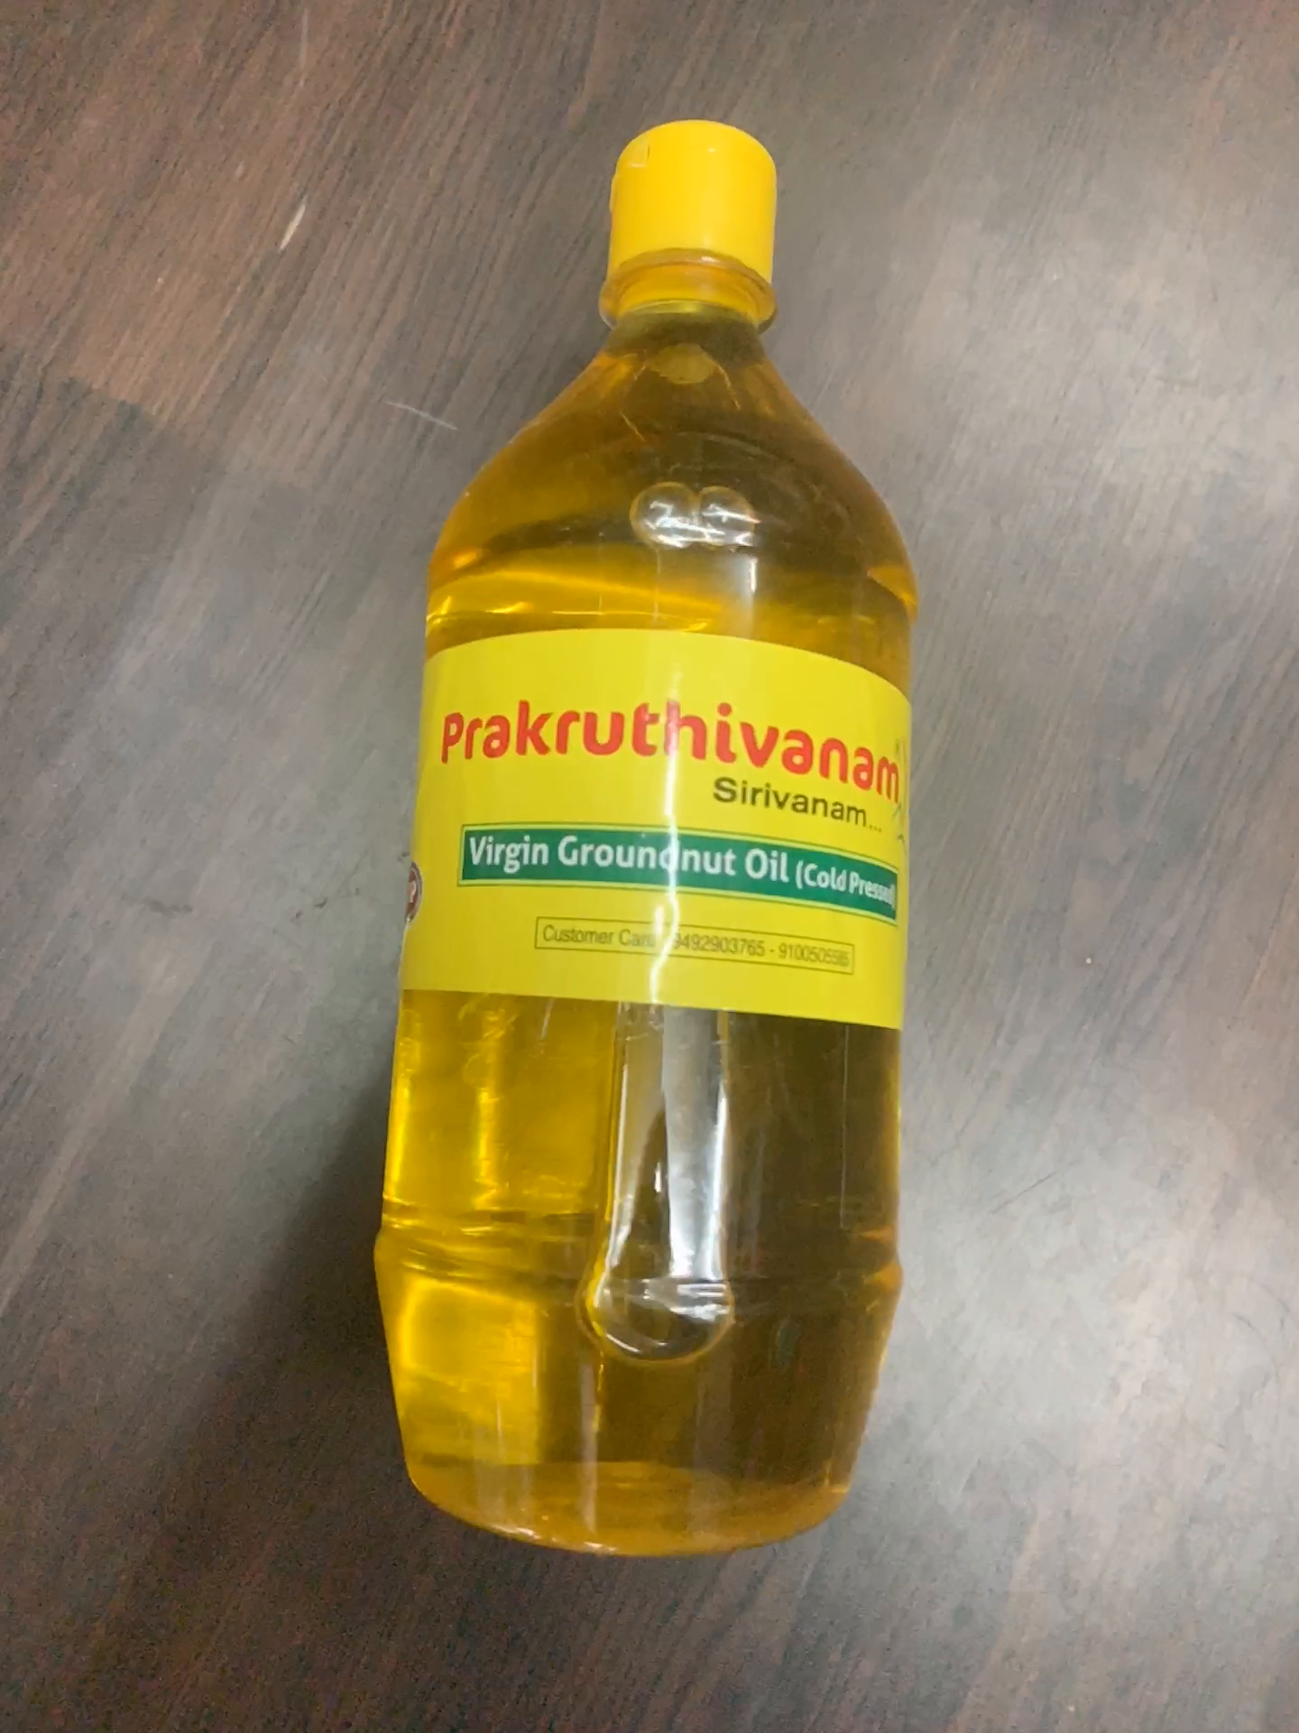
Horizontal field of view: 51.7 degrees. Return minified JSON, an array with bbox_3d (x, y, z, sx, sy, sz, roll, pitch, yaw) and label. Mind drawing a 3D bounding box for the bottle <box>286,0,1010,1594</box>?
[{"bbox_3d":[0.000,-0.030,0.230,0.090,0.080,0.260,4,83,-8],"label":"bottle"}]
